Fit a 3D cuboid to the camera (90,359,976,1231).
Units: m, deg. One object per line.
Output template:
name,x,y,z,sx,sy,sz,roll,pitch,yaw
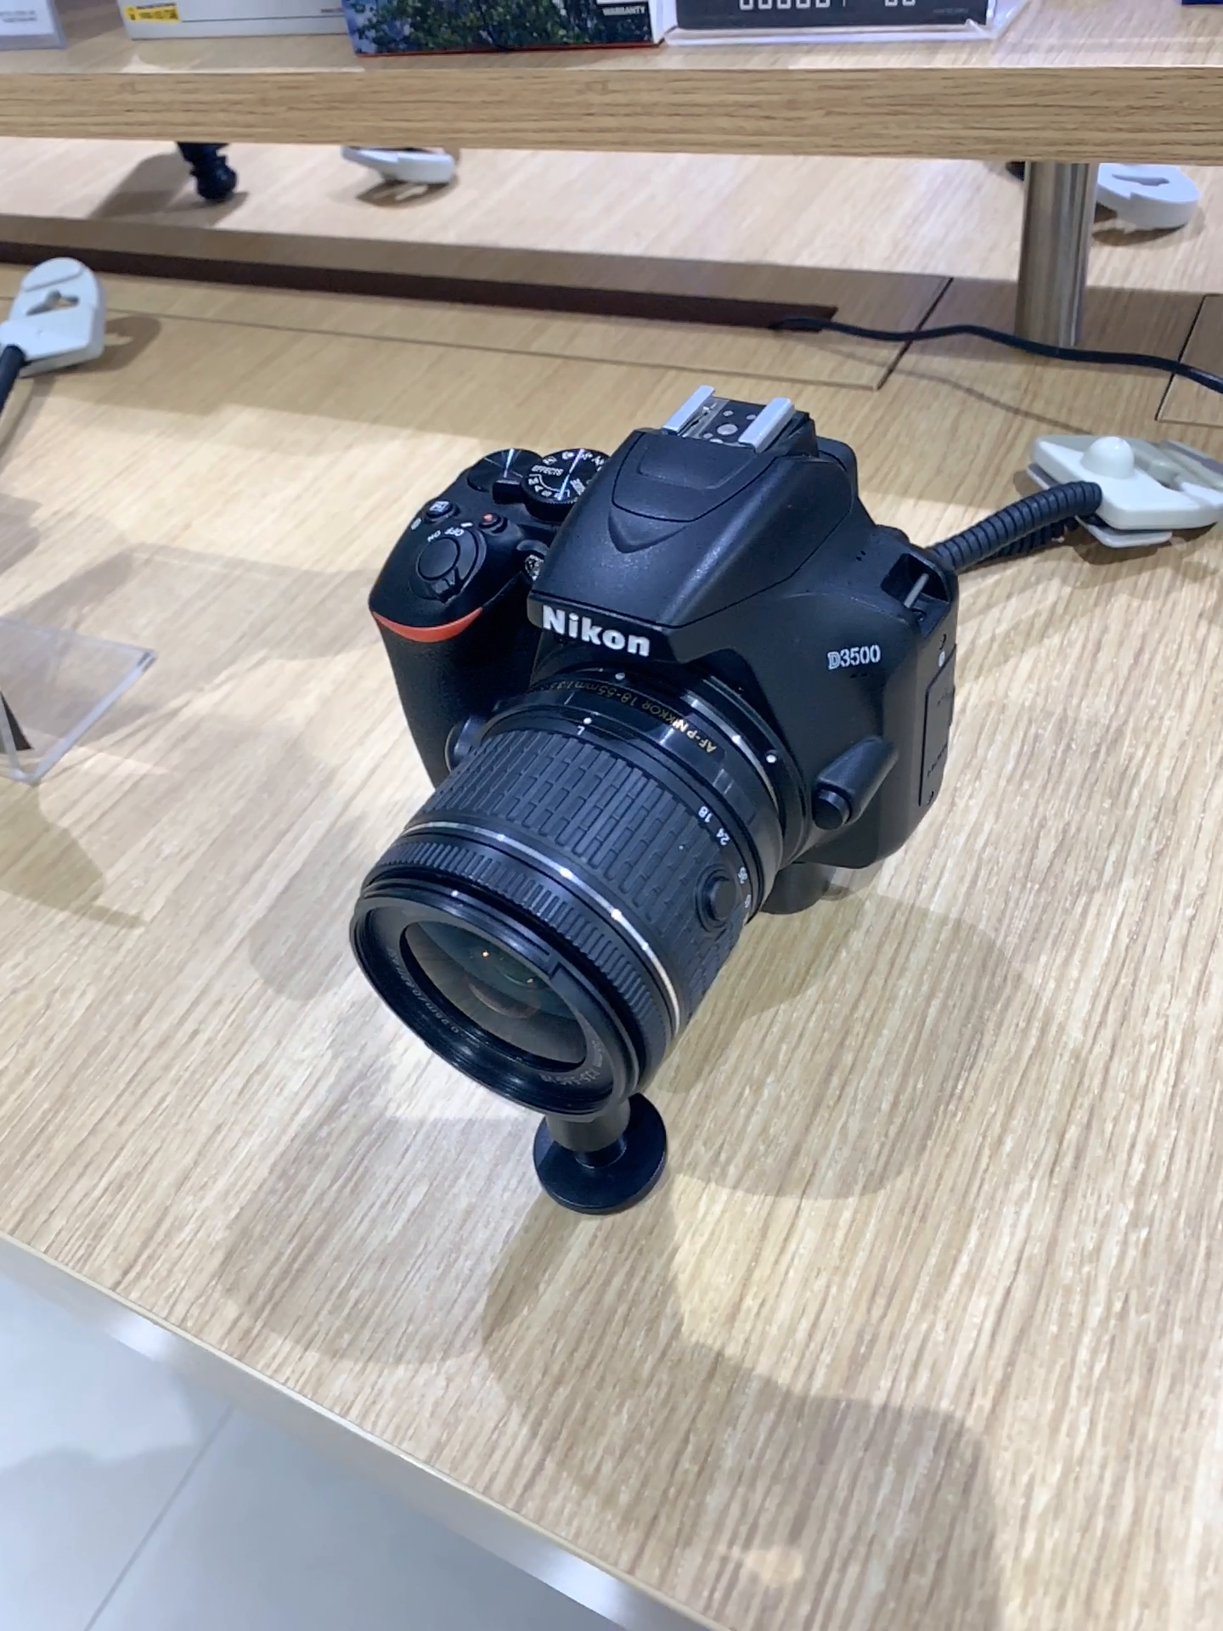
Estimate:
camera,-0.003,-0.010,0.230,0.102,0.091,0.104,16,52,25
